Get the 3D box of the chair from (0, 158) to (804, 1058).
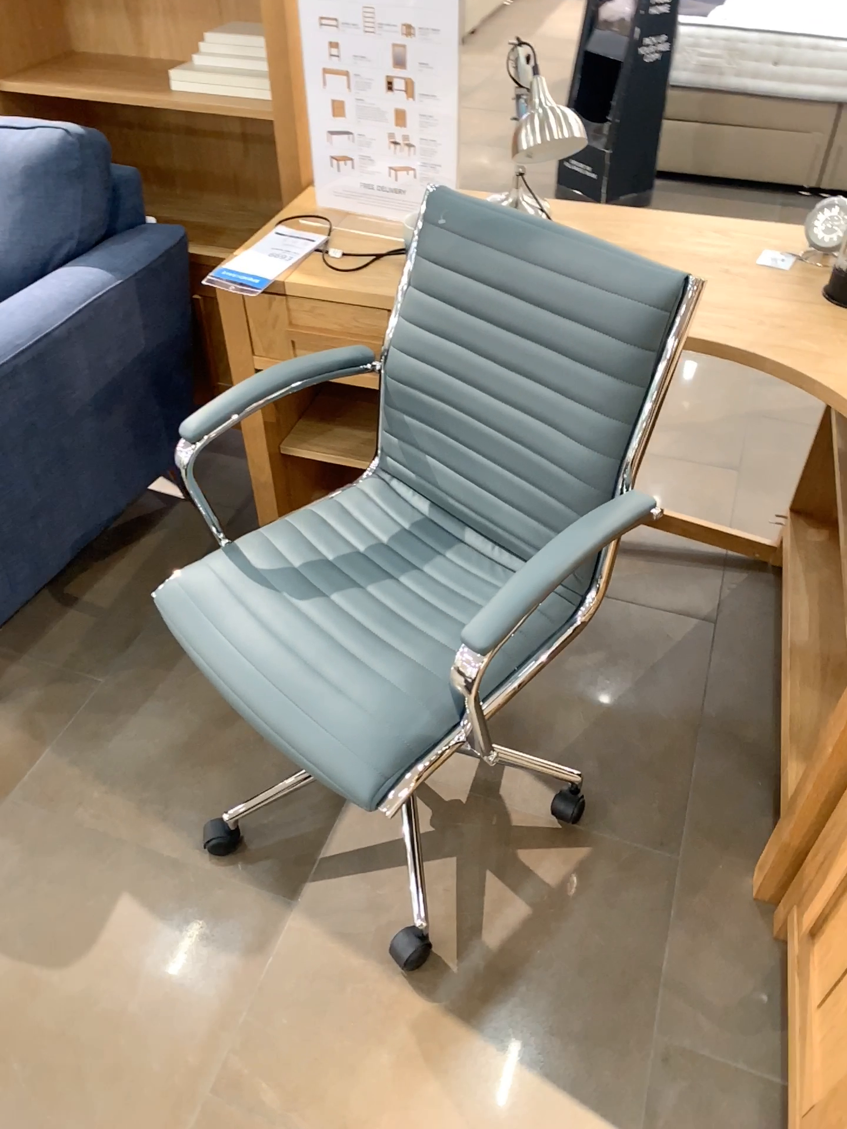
[{"bbox_3d":[-0.055,0.030,1.261,0.710,0.883,0.667,-33,51,-30],"label":"chair"}]
